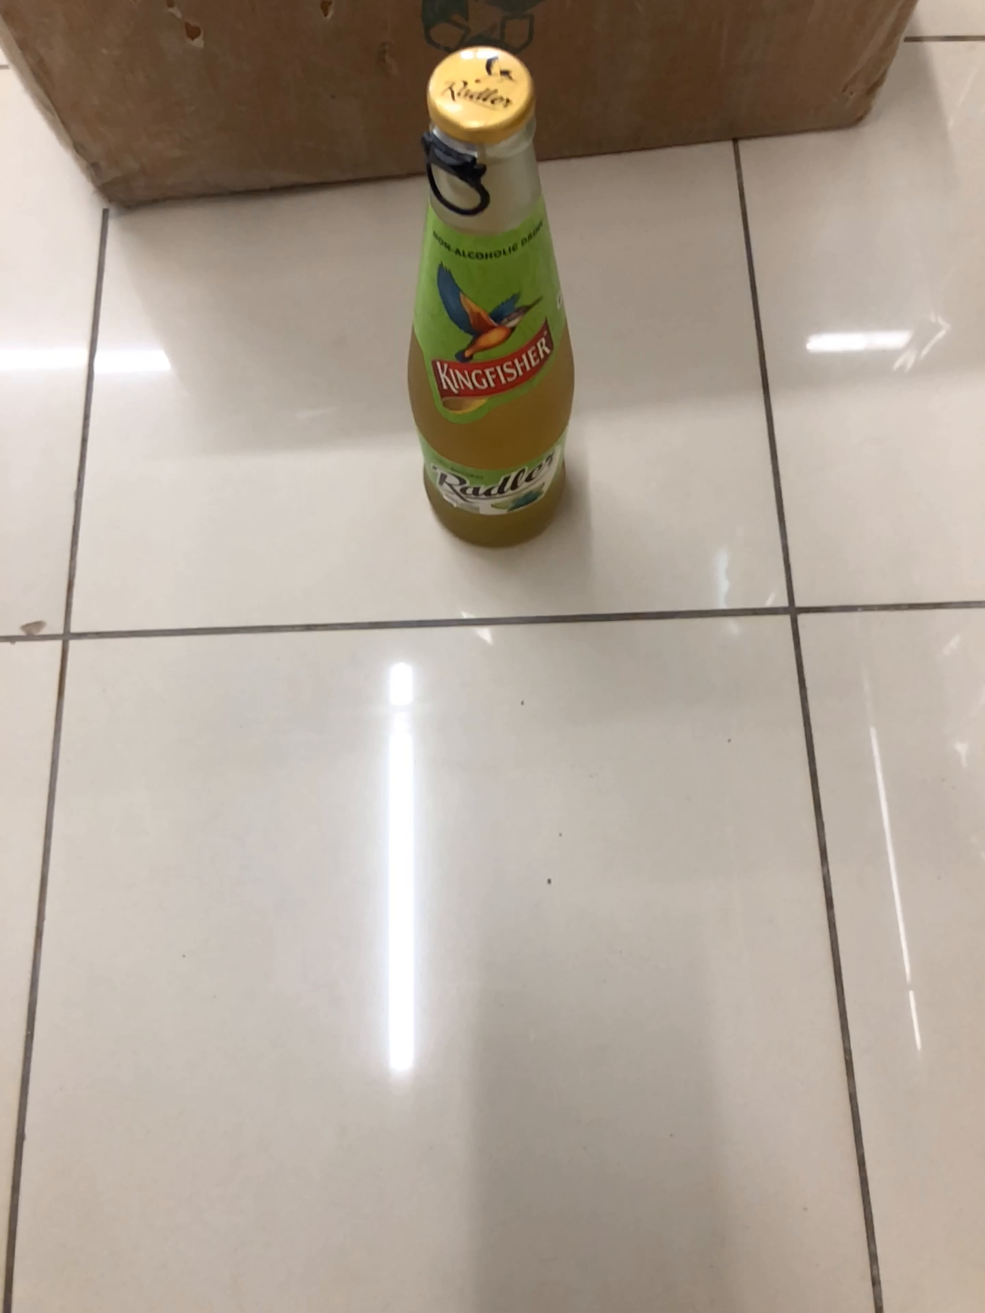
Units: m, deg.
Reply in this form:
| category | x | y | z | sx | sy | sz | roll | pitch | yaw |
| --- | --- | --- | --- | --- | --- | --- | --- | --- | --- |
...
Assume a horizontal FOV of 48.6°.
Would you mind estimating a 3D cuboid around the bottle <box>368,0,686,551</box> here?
| category | x | y | z | sx | sy | sz | roll | pitch | yaw |
| --- | --- | --- | --- | --- | --- | --- | --- | --- | --- |
| bottle | 0.008 | -0.105 | 0.352 | 0.070 | 0.209 | 0.060 | -3 | 72 | 0 |
